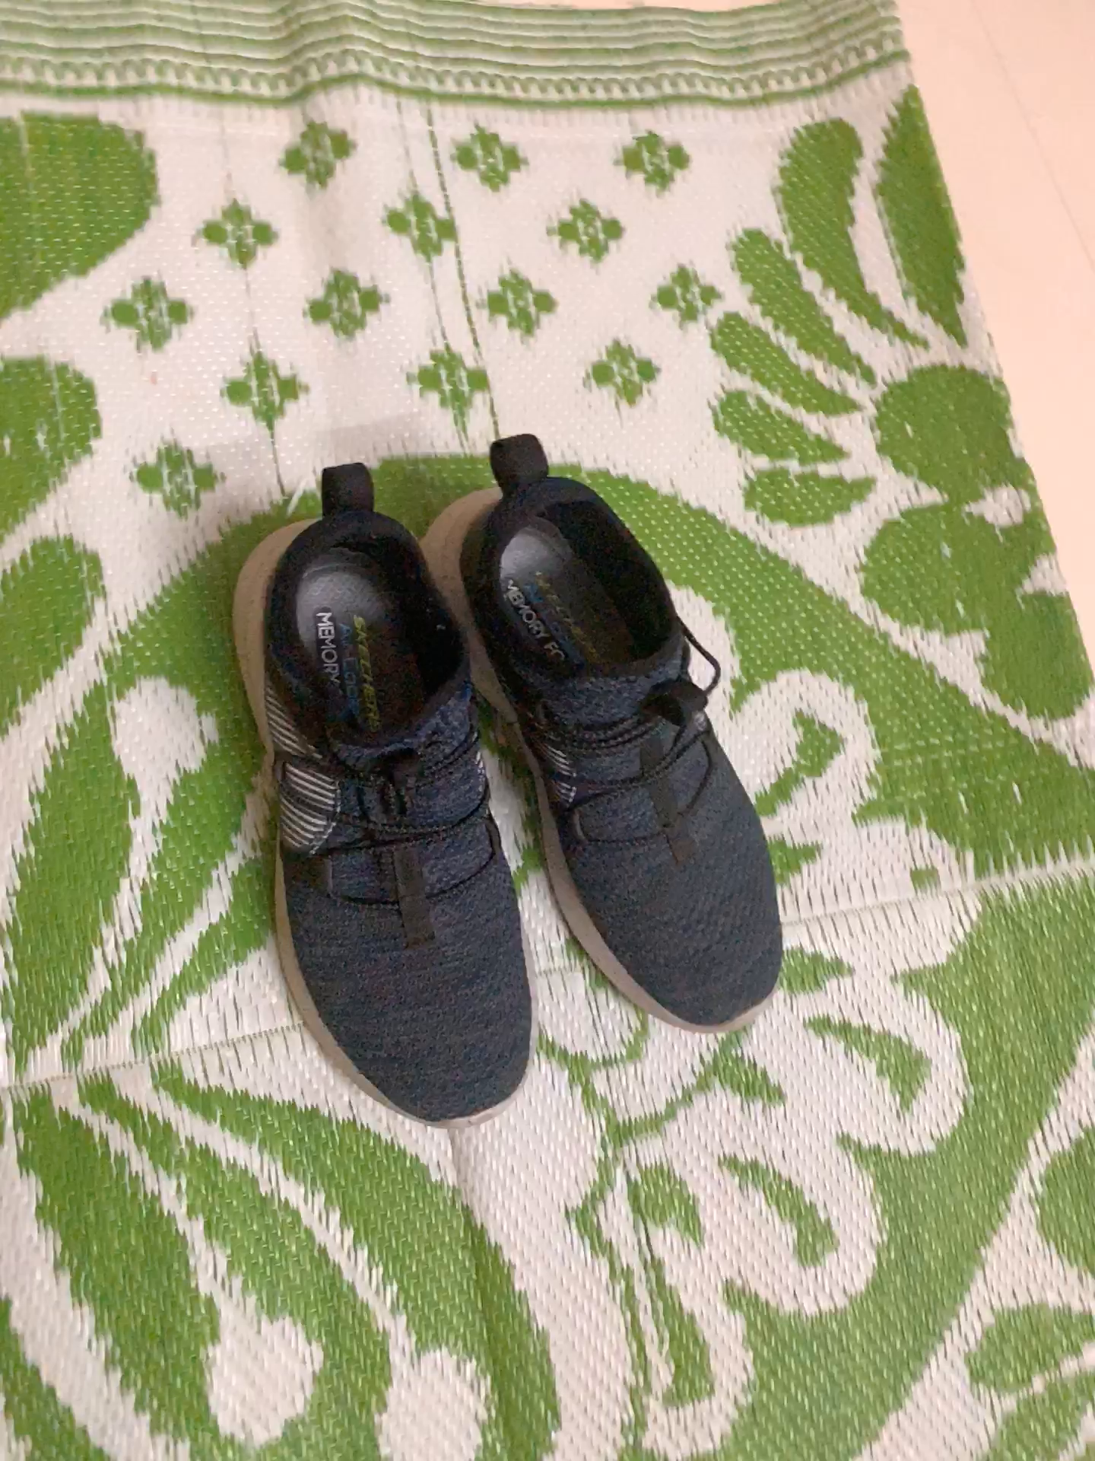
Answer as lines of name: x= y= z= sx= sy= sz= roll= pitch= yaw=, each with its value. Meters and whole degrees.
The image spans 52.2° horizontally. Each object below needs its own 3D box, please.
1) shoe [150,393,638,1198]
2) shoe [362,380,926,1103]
shoe: x=-0.073 y=0.023 z=0.487 sx=0.110 sy=0.100 sz=0.300 roll=-16 pitch=81 yaw=-15
shoe: x=0.033 y=0.005 z=0.516 sx=0.110 sy=0.100 sz=0.290 roll=-27 pitch=85 yaw=-17
